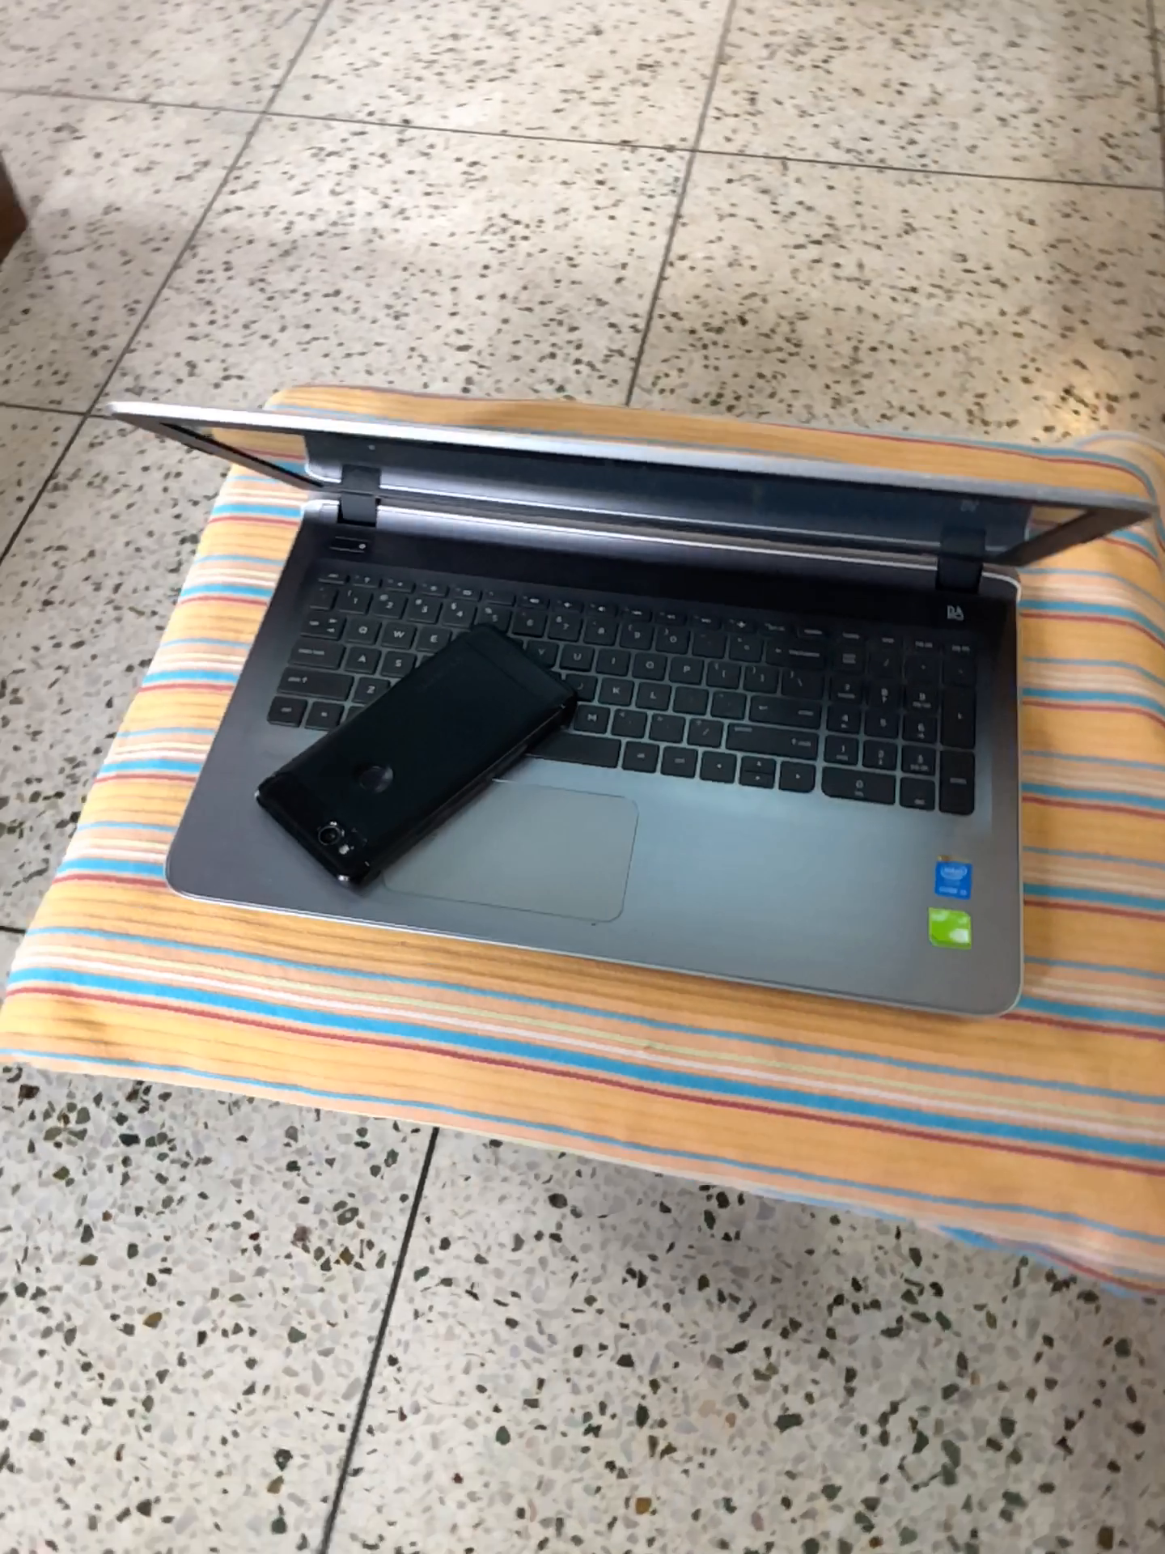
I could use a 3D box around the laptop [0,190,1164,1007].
[{"bbox_3d":[0.014,-0.077,0.537,0.371,0.184,0.237,7,57,7],"label":"laptop"}]
